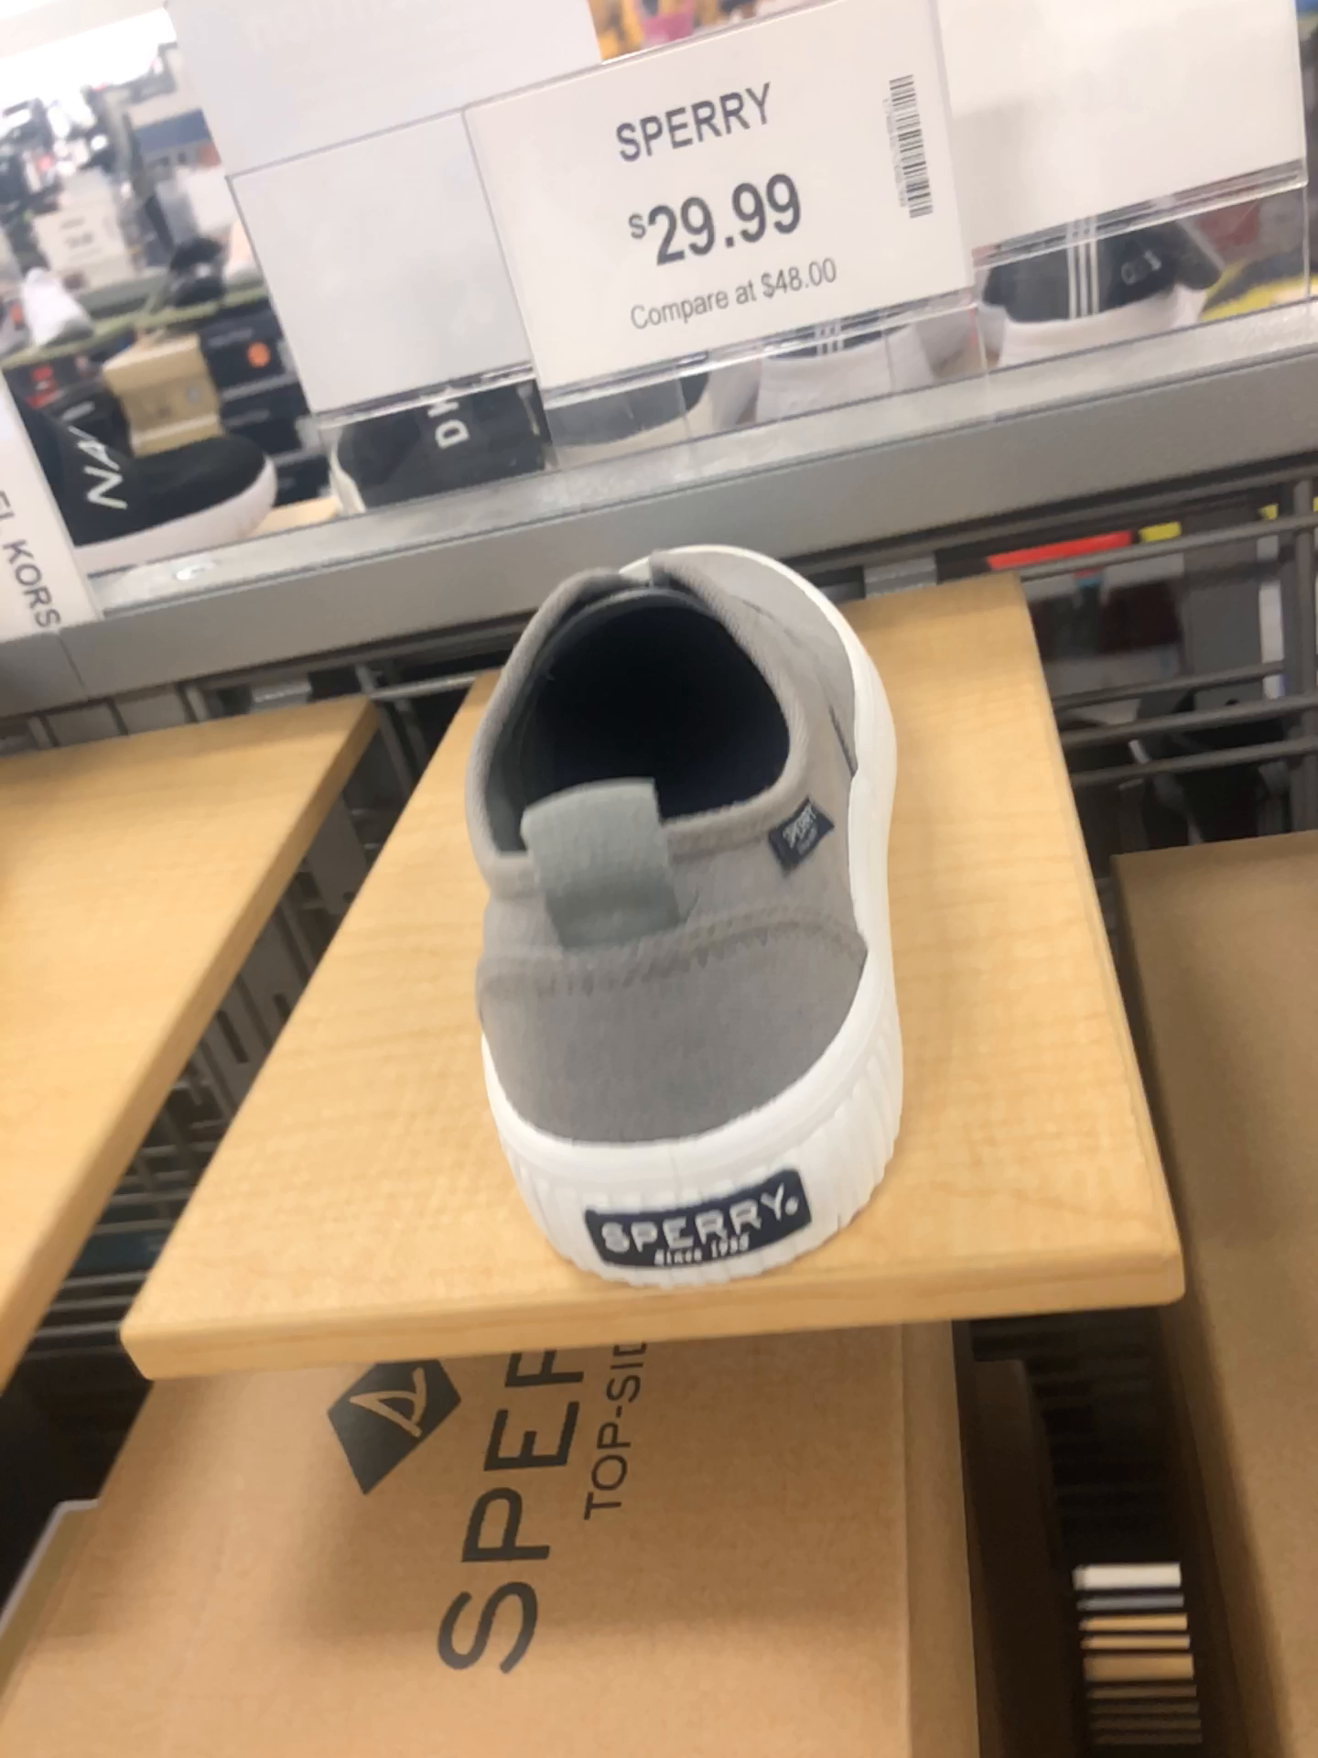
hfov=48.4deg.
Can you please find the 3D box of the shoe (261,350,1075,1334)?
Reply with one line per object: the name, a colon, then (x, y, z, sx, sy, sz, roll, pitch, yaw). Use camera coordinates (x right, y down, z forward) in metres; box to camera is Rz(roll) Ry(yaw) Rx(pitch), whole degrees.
shoe: (0.006, -0.036, 0.310, 0.097, 0.081, 0.252, -10, 29, 6)
